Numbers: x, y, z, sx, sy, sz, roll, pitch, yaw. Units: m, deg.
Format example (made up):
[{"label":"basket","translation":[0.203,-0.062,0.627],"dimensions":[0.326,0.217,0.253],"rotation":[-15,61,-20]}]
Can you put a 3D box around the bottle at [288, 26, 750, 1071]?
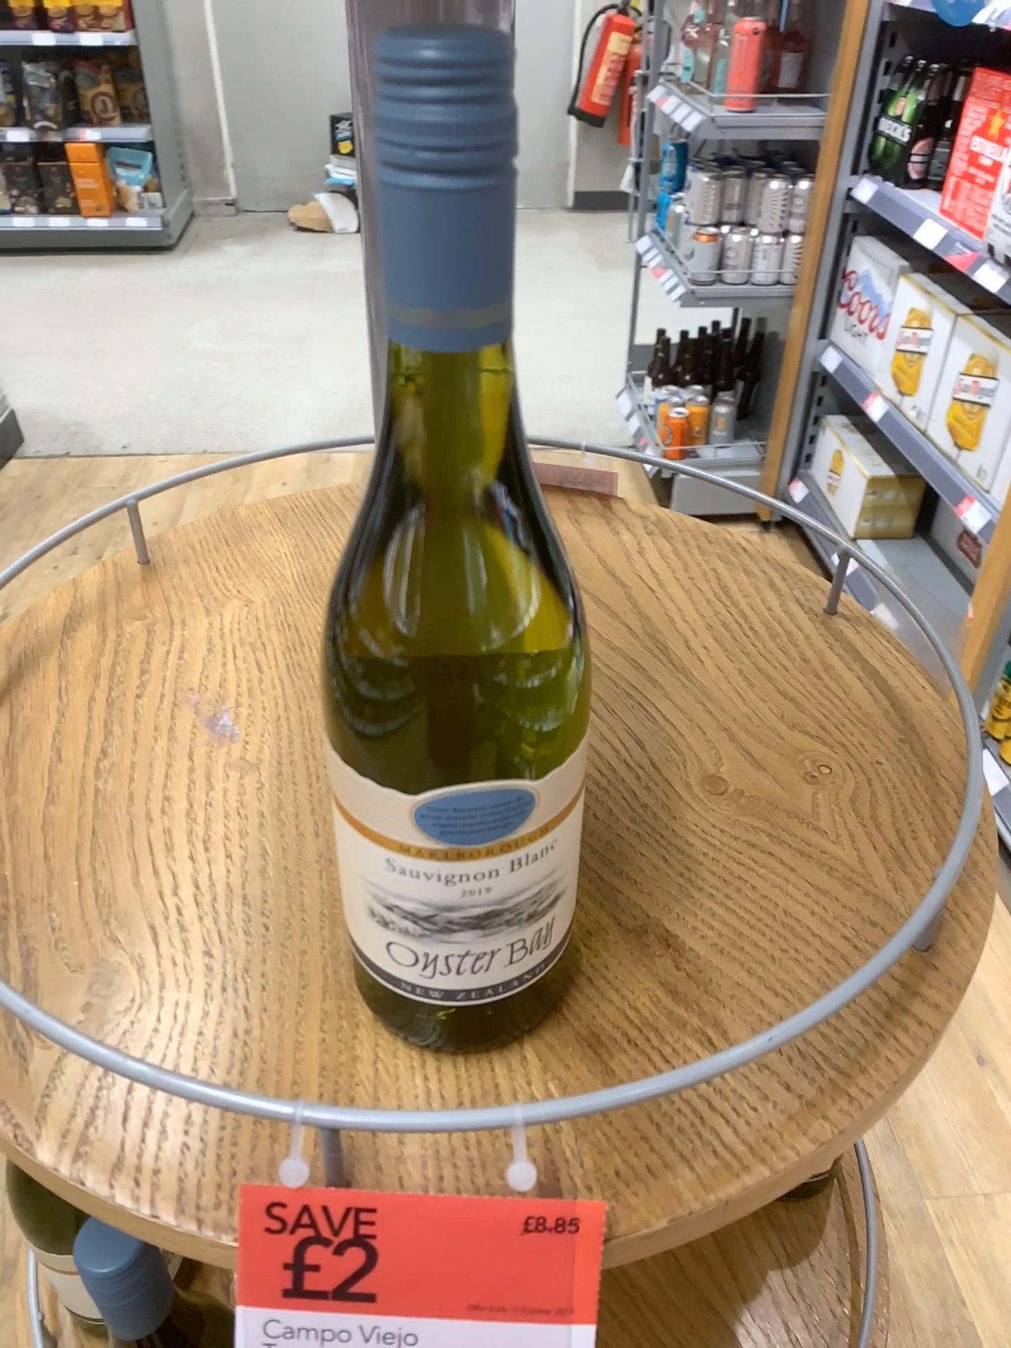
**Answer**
[{"label":"bottle","translation":[-0.005,-0.012,0.291],"dimensions":[0.080,0.284,0.081],"rotation":[1,36,0]}]
